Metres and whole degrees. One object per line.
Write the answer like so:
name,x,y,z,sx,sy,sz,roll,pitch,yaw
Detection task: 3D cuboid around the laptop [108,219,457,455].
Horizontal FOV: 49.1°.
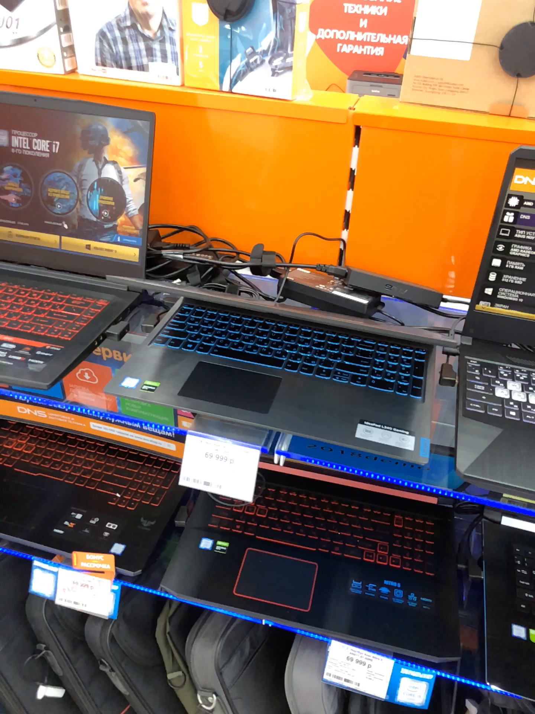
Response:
laptop,0.033,-0.045,0.698,0.348,0.117,0.242,11,34,13

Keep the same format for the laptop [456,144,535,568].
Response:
laptop,0.422,-0.031,0.586,0.384,0.250,0.278,12,34,13

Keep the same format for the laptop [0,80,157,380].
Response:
laptop,-0.377,-0.193,0.770,0.348,0.228,0.326,12,34,10
